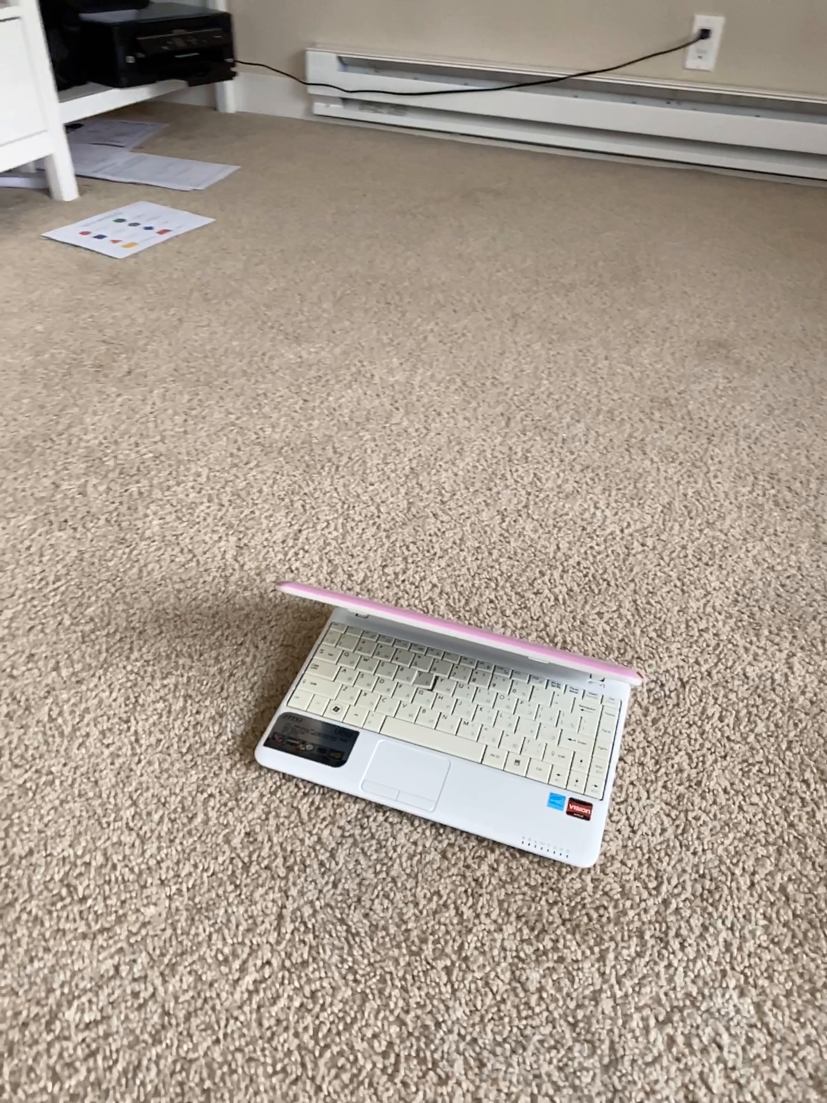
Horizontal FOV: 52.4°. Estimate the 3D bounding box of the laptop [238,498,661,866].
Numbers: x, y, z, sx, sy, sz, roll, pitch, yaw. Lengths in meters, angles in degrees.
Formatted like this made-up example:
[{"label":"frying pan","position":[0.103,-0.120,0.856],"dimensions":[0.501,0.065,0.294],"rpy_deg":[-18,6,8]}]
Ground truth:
[{"label":"laptop","position":[0.035,0.095,0.703],"dimensions":[0.290,0.125,0.194],"rpy_deg":[14,43,14]}]
